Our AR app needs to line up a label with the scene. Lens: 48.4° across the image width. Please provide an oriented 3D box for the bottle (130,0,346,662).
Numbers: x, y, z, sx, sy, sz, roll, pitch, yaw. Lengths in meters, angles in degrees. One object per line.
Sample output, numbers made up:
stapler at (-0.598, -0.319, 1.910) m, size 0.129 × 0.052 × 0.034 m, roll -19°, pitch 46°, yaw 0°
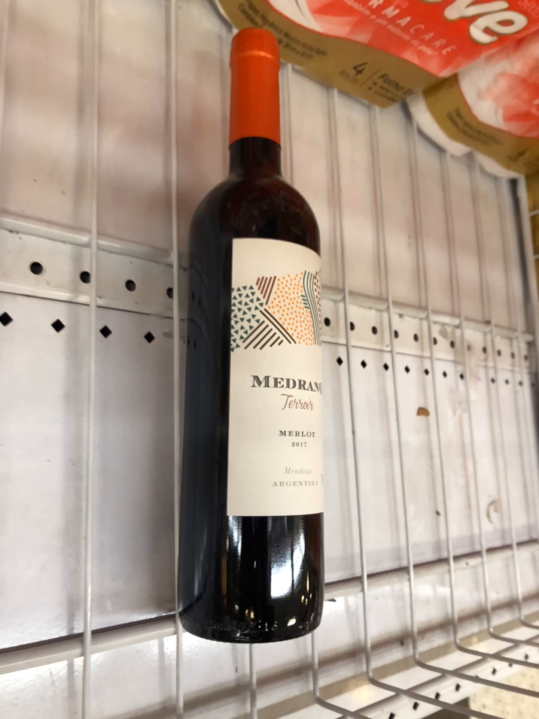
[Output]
bottle at (-0.019, -0.030, 0.326) m, size 0.080 × 0.070 × 0.330 m, roll 8°, pitch 76°, yaw -39°
